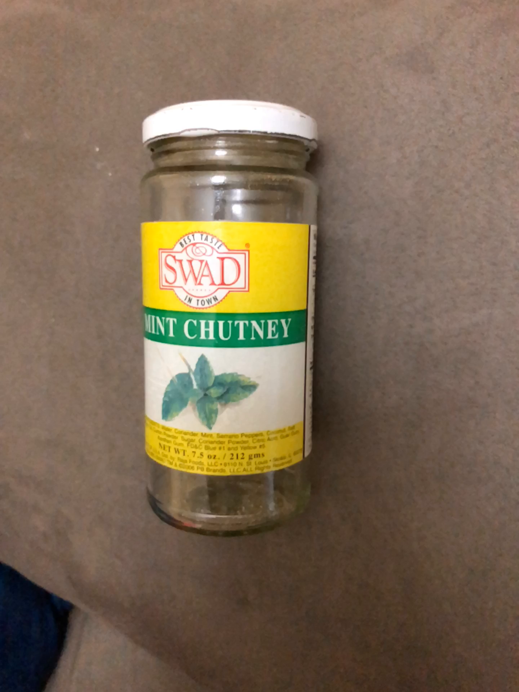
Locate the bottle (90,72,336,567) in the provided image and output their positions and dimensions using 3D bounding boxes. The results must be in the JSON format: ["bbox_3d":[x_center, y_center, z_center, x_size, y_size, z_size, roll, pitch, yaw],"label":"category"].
[{"bbox_3d":[-0.012,-0.008,0.193,0.056,0.056,0.133,4,101,22],"label":"bottle"}]
